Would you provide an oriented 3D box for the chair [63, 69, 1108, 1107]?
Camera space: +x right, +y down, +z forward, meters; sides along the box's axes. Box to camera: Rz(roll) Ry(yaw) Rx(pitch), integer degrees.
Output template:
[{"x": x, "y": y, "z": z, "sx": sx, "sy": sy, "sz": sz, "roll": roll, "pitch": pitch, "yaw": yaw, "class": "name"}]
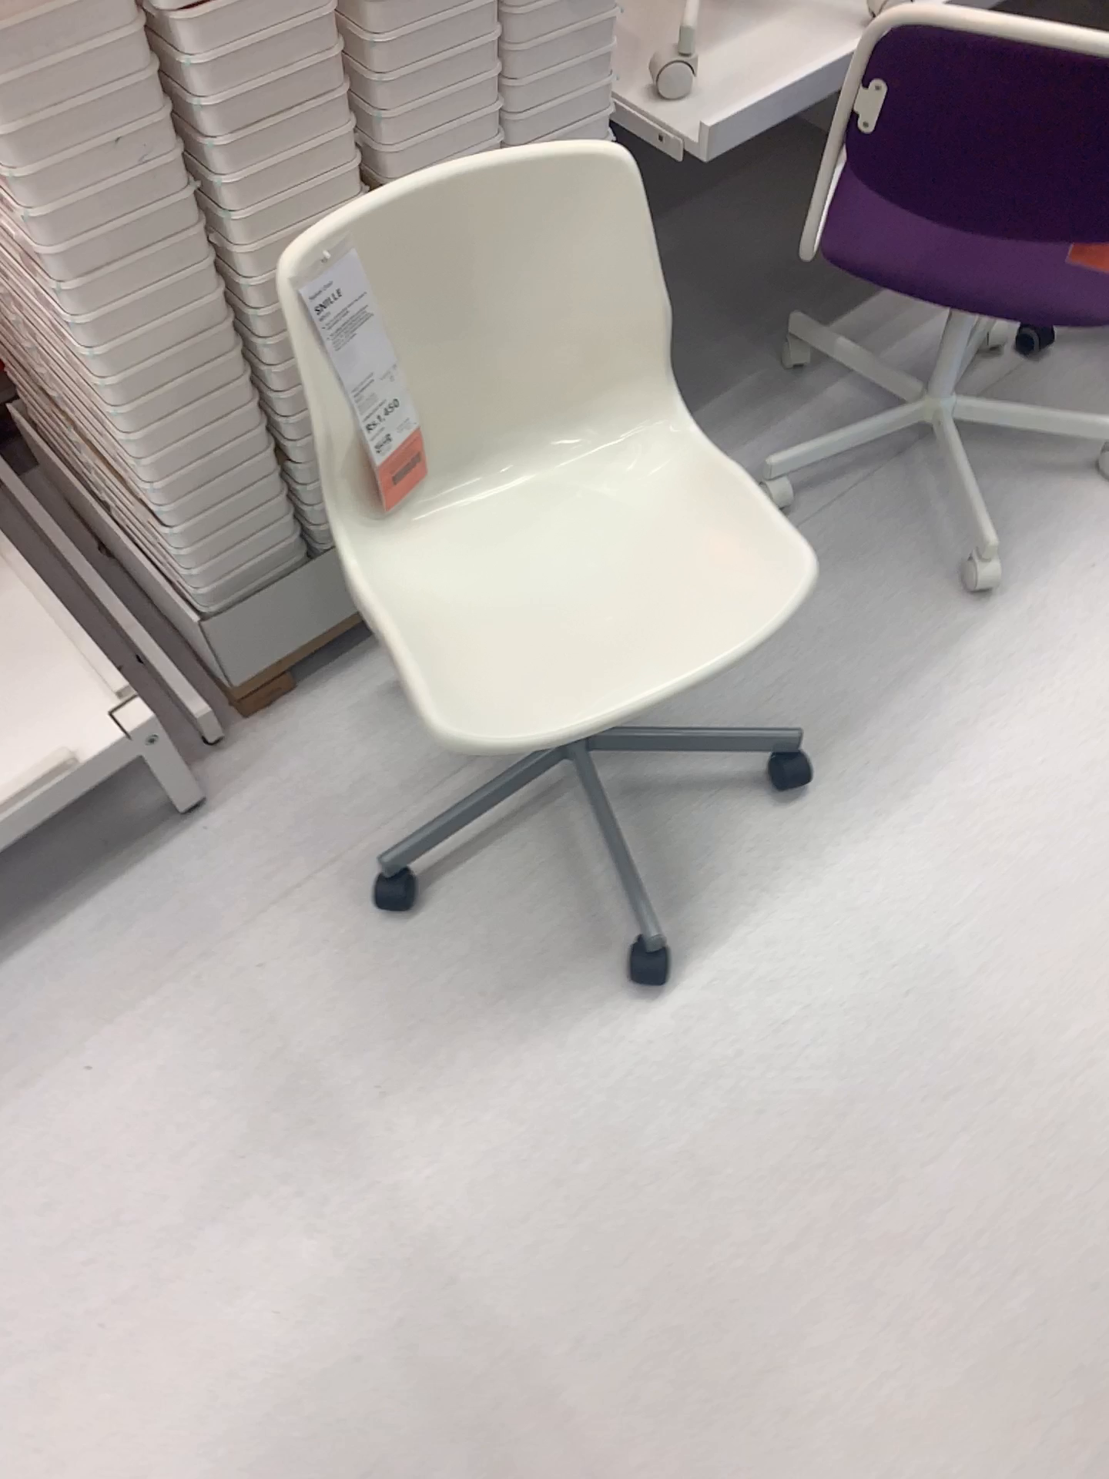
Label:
[{"x": 0.004, "y": -0.146, "z": 1.260, "sx": 0.640, "sy": 0.688, "sz": 0.681, "roll": -28, "pitch": 61, "yaw": -14, "class": "chair"}]
